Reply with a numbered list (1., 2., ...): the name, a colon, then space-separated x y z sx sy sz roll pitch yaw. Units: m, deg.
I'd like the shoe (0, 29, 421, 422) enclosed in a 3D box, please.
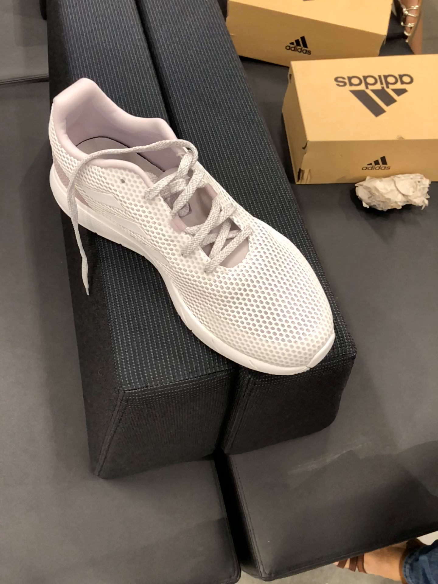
1. shoe: -0.021 -0.052 0.384 0.280 0.140 0.120 38 67 16
